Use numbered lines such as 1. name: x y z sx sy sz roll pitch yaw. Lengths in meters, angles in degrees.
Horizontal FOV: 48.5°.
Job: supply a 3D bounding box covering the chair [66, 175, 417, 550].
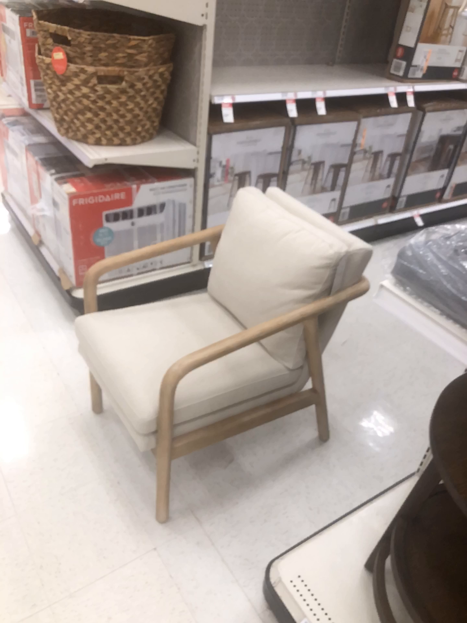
1. chair: -0.021 0.105 1.629 0.762 0.806 0.582 -16 40 -29
